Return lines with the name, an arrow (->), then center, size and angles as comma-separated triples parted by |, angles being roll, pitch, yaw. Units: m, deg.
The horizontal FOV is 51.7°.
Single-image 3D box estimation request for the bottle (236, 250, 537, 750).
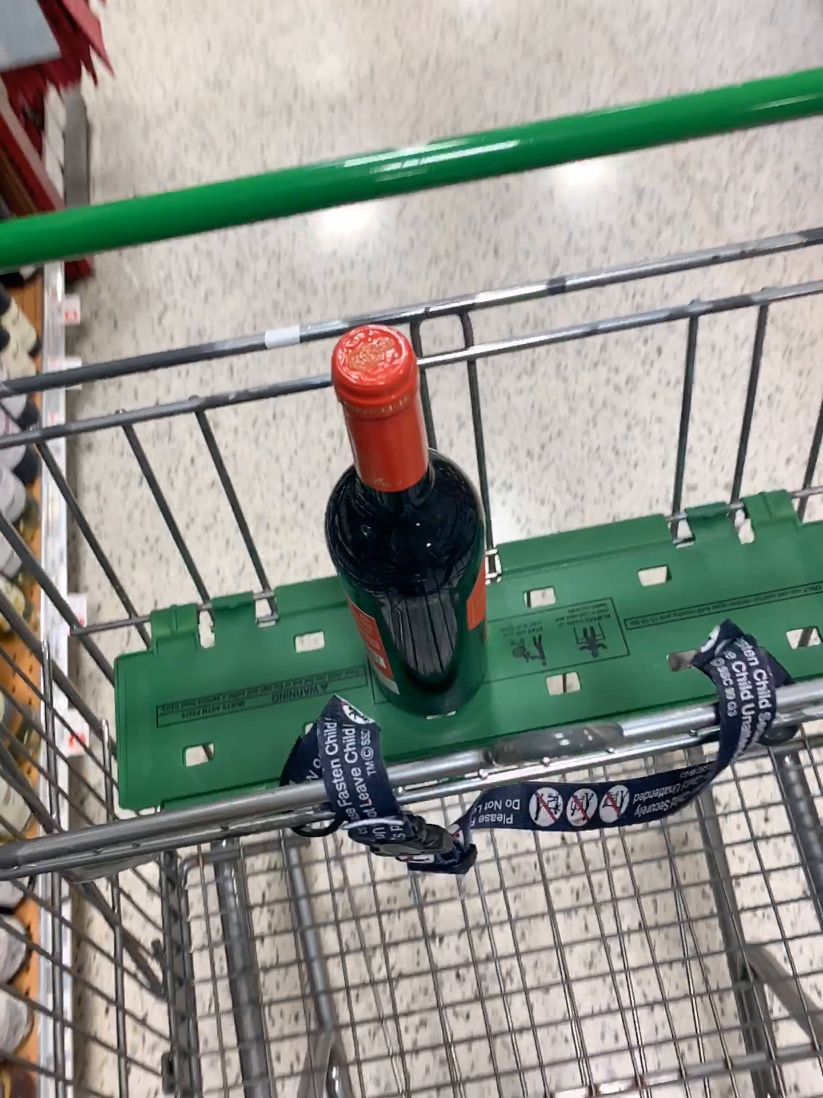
bottle -> 0.002, 0.008, 0.411 | 0.080, 0.298, 0.081 | -2, 62, 4
